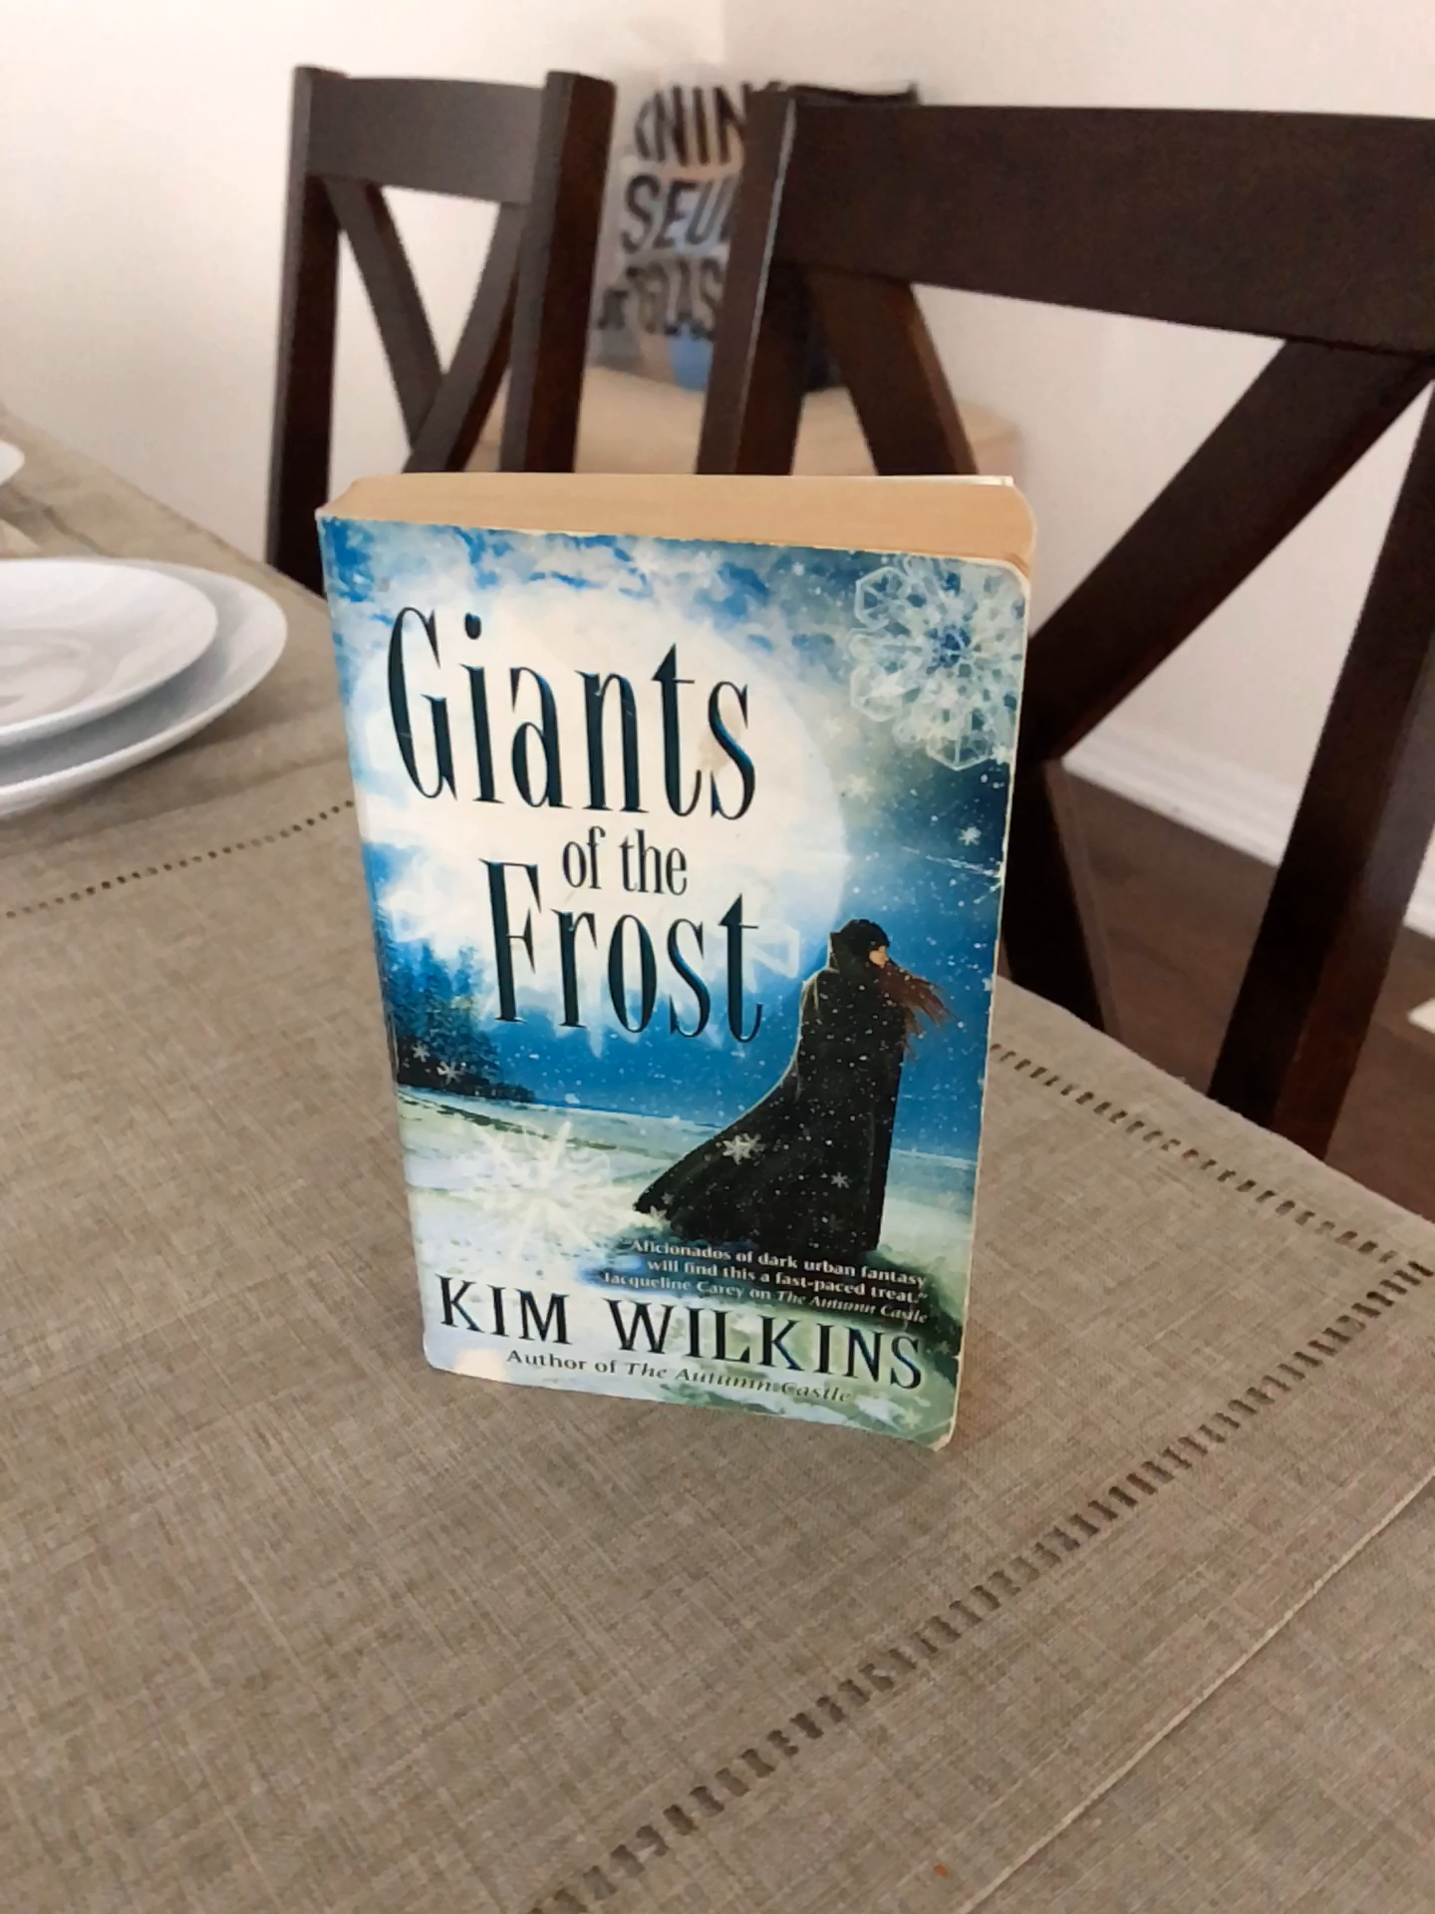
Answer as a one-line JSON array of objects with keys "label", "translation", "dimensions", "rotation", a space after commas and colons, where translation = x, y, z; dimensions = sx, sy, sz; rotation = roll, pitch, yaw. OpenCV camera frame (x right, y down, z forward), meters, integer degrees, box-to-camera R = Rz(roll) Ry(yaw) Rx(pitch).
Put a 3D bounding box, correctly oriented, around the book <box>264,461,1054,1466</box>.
[{"label": "book", "translation": [-0.005, 0.005, 0.279], "dimensions": [0.111, 0.168, 0.043], "rotation": [4, 29, 9]}]
